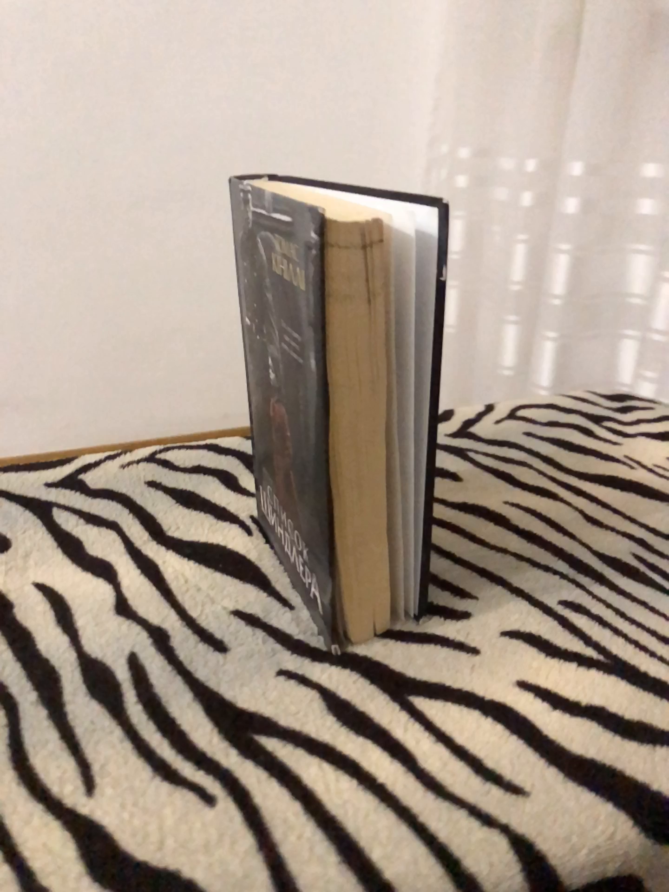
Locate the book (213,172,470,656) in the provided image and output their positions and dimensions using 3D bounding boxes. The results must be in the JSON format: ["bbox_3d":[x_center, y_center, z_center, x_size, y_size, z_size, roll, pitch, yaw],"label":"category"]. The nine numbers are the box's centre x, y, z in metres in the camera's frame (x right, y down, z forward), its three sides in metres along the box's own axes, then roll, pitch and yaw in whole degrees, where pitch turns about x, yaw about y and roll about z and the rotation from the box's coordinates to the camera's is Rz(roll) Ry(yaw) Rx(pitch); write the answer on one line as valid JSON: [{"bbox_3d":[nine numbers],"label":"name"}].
[{"bbox_3d":[-0.004,-0.026,0.361,0.057,0.191,0.145,-11,27,-22],"label":"book"}]
